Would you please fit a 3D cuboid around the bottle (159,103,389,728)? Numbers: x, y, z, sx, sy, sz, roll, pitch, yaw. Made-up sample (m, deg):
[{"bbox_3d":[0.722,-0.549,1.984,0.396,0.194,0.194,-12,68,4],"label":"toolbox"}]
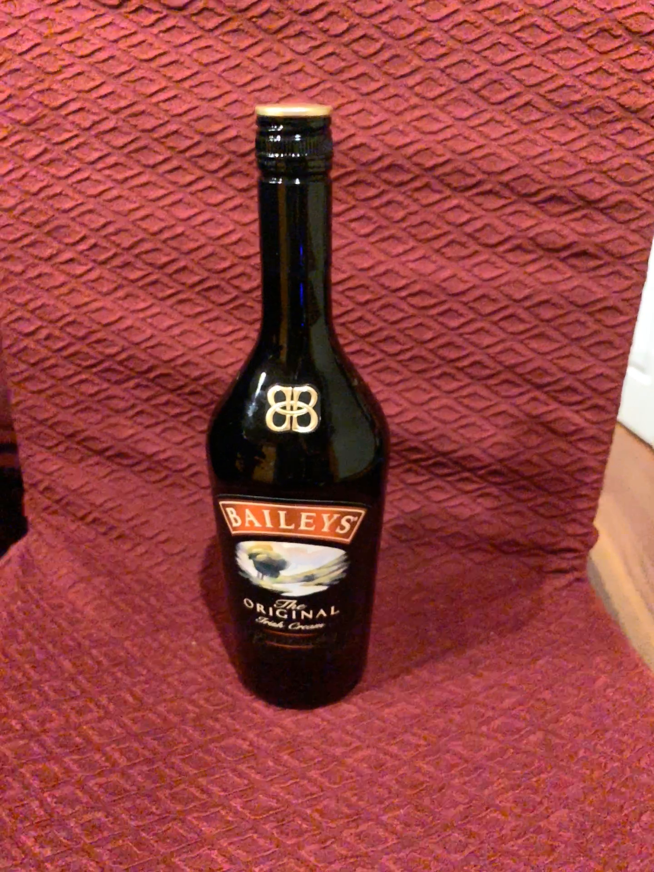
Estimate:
[{"bbox_3d":[-0.017,0.002,0.328,0.080,0.289,0.070,2,24,5],"label":"bottle"}]
